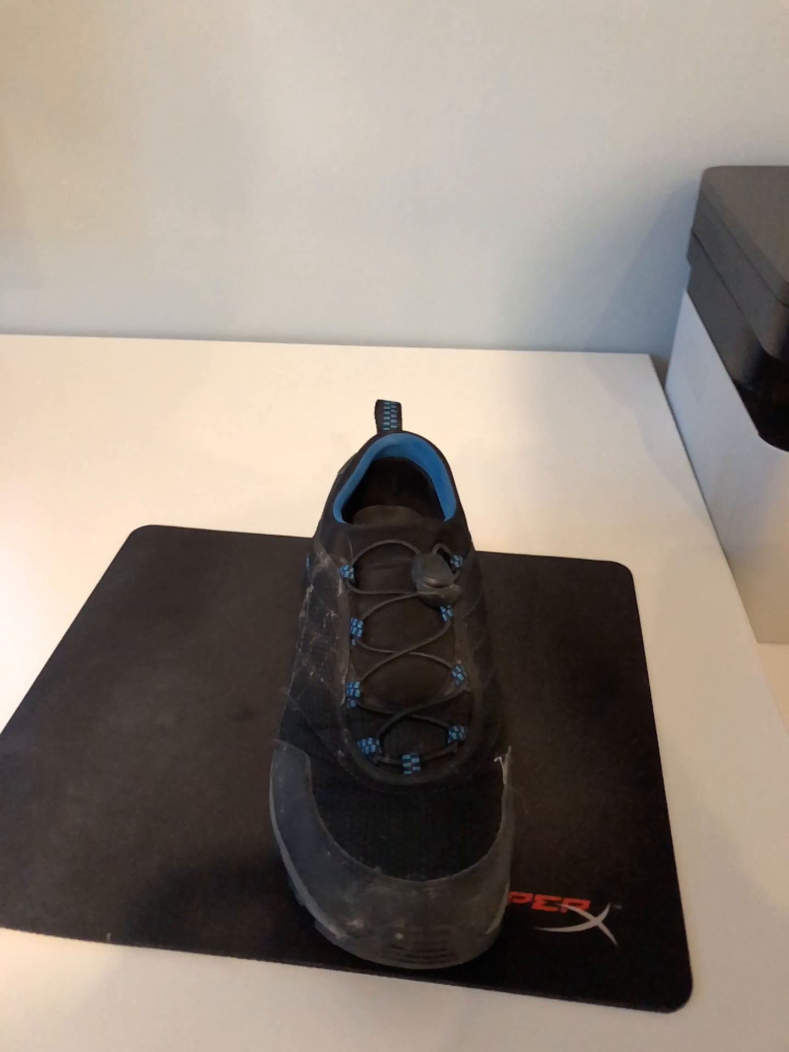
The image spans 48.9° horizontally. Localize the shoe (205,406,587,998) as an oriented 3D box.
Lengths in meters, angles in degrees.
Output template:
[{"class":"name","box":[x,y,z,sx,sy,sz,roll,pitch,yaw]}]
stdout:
[{"class":"shoe","box":[-0.002,0.060,0.449,0.130,0.109,0.302,-1,36,-1]}]
